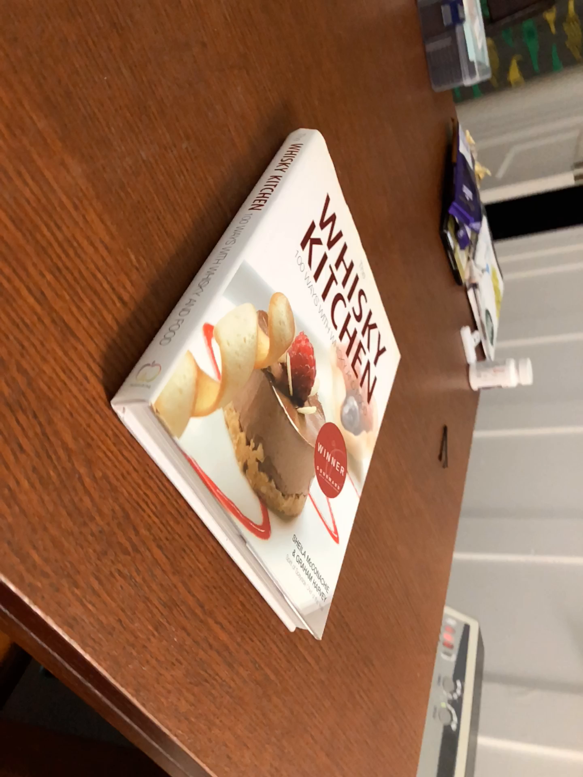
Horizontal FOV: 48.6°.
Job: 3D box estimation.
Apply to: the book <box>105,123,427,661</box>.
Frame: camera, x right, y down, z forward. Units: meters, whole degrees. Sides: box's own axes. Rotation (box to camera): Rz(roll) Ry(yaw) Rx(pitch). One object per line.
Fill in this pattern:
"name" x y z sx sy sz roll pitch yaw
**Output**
"book" 0.019 -0.006 0.424 0.220 0.040 0.271 62 36 -36
